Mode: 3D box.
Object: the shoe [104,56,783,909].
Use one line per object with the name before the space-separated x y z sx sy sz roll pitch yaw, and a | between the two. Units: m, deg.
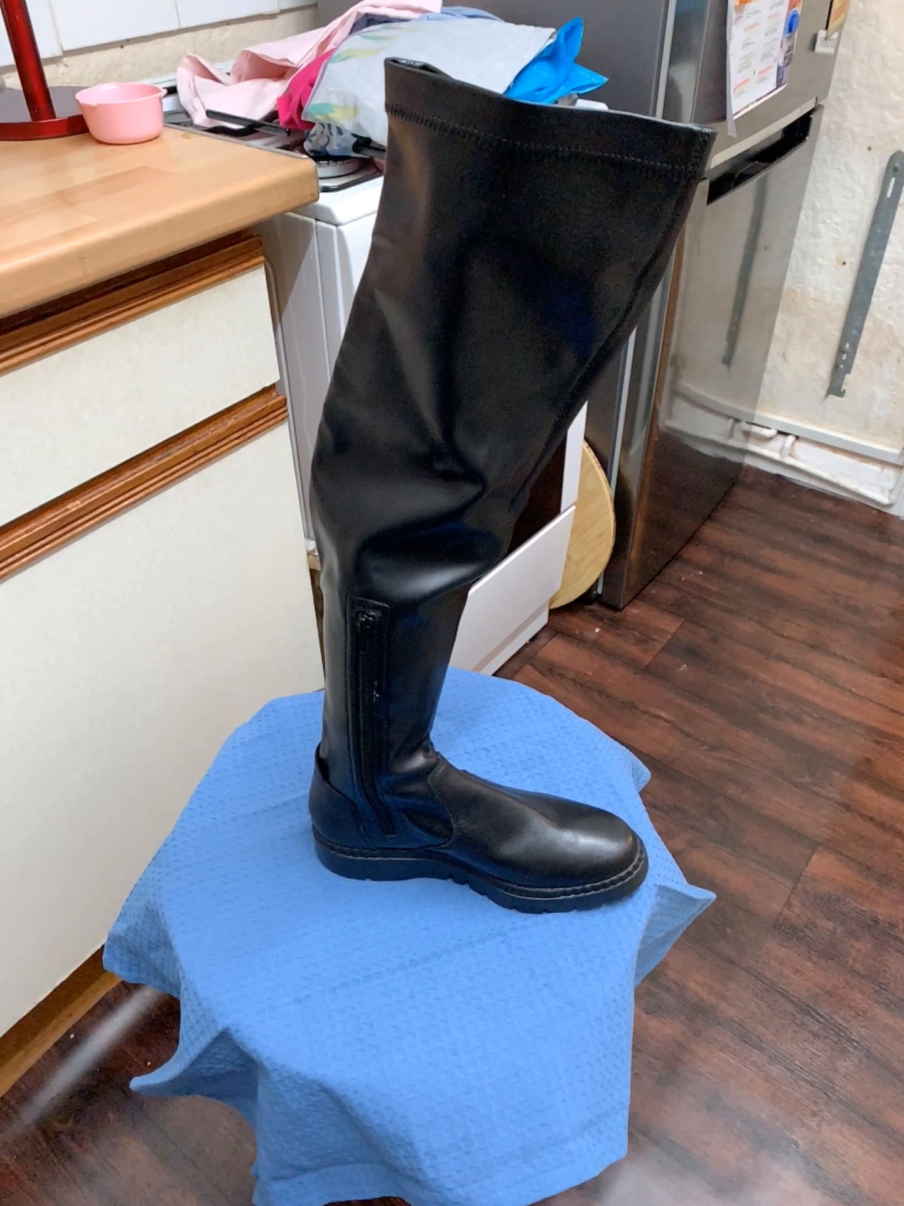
shoe | 0.006 -0.021 0.574 0.271 0.535 0.107 3 40 7
